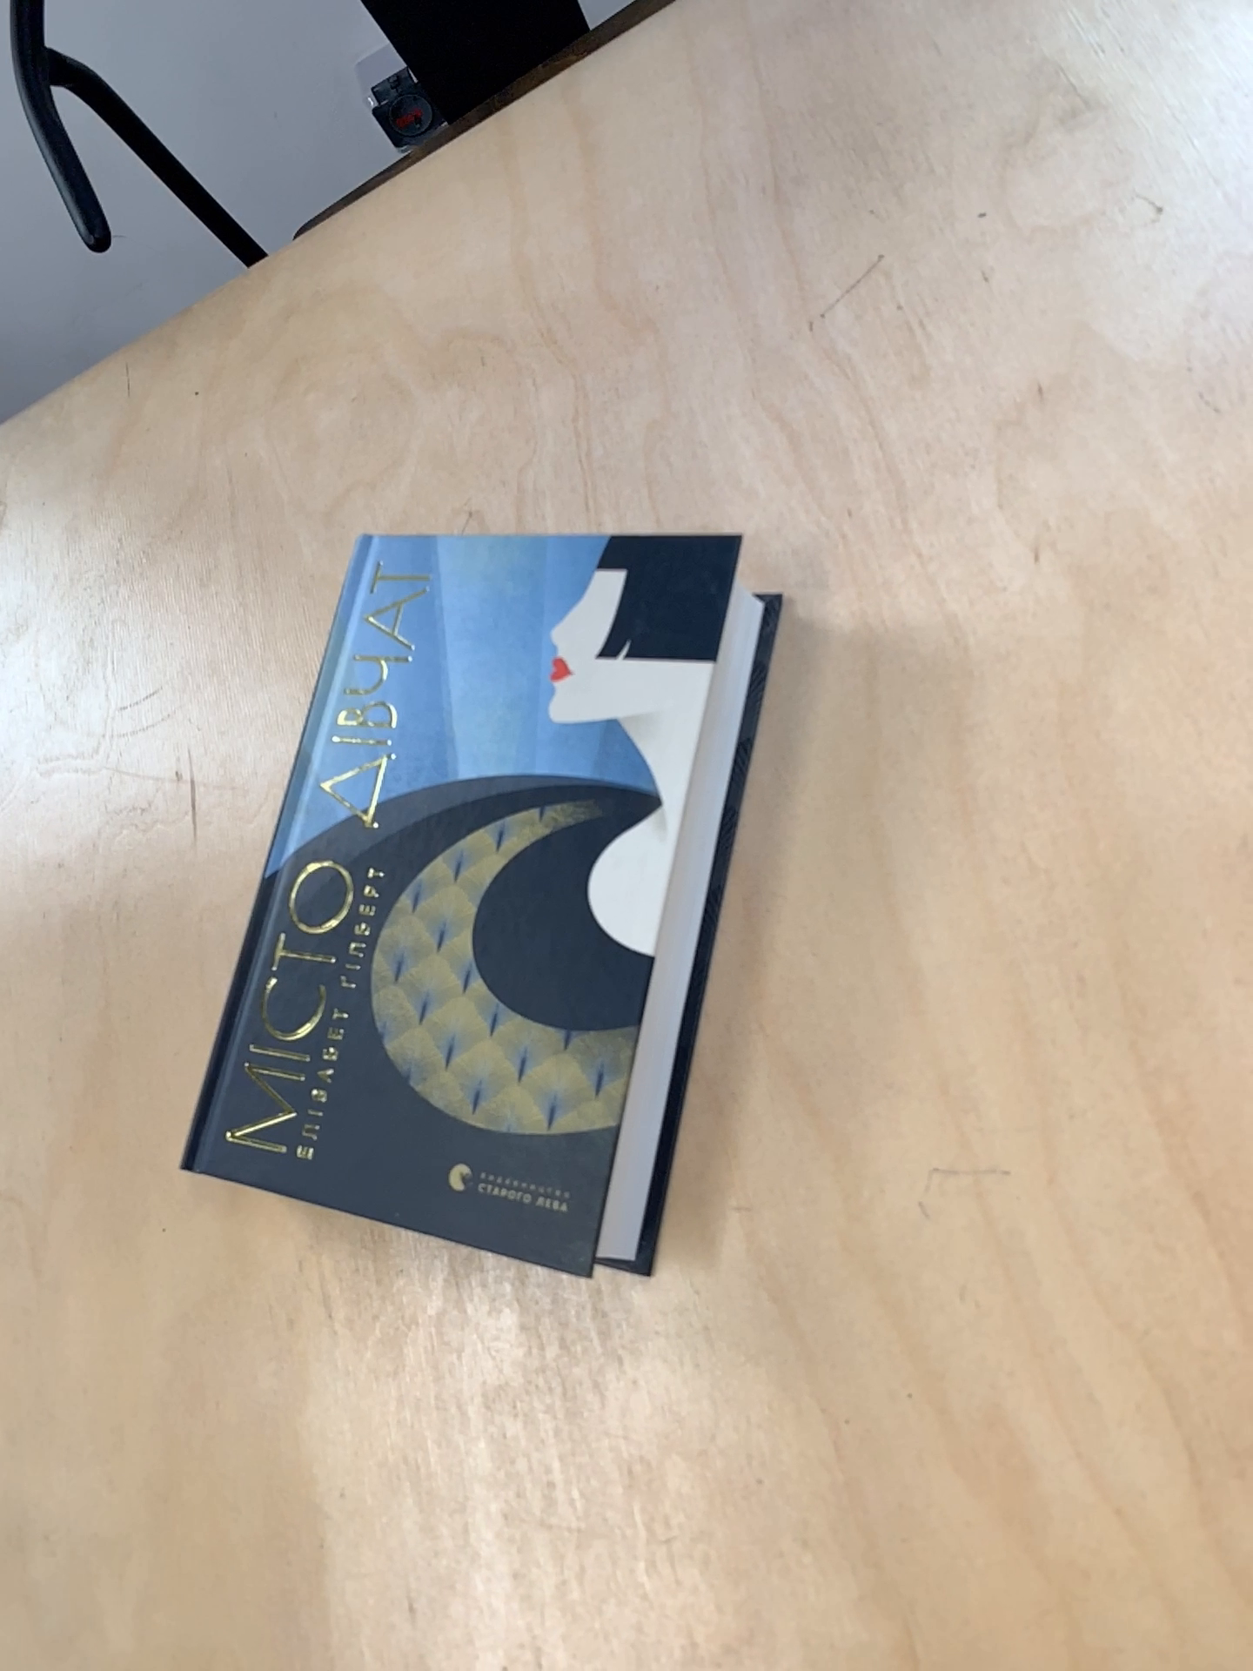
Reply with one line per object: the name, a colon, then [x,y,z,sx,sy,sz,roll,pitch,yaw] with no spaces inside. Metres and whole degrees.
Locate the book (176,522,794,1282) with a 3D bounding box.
book: [-0.039,0.010,0.369,0.135,0.043,0.197,6,77,27]
